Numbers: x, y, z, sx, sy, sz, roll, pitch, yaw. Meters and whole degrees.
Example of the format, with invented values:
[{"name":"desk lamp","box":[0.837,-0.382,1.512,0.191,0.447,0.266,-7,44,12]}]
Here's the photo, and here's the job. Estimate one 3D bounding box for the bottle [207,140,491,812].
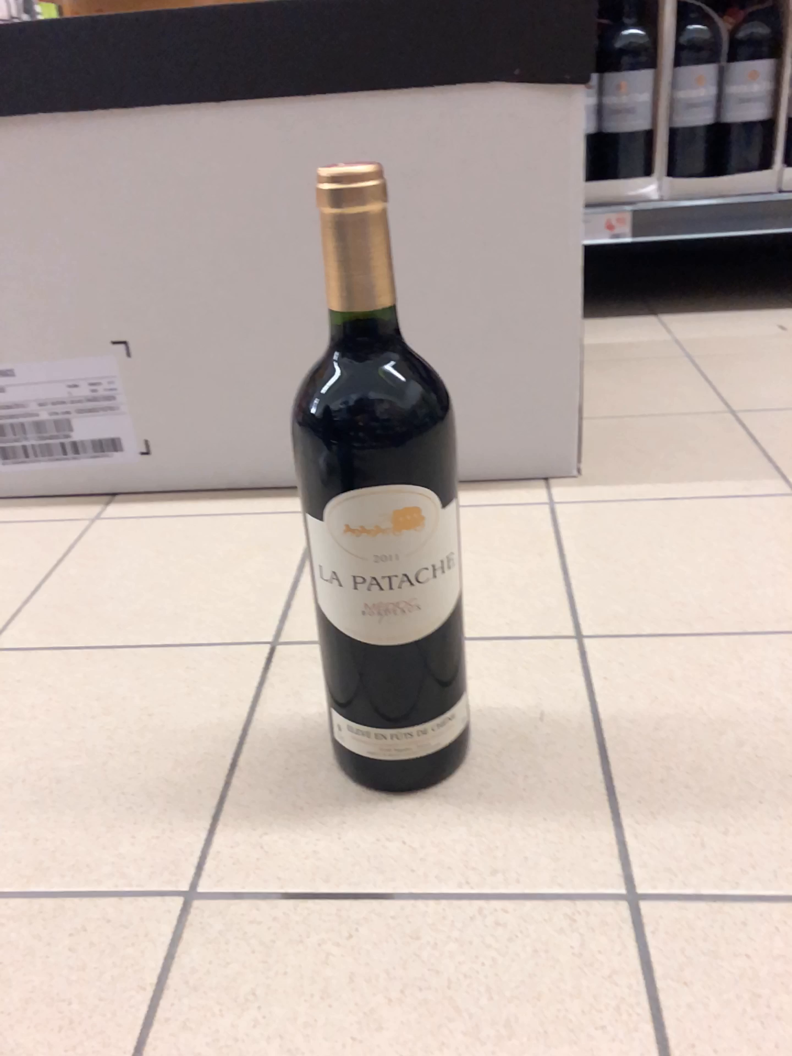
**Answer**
[{"name":"bottle","box":[-0.012,-0.014,0.398,0.090,0.288,0.080,-6,26,-3]}]
